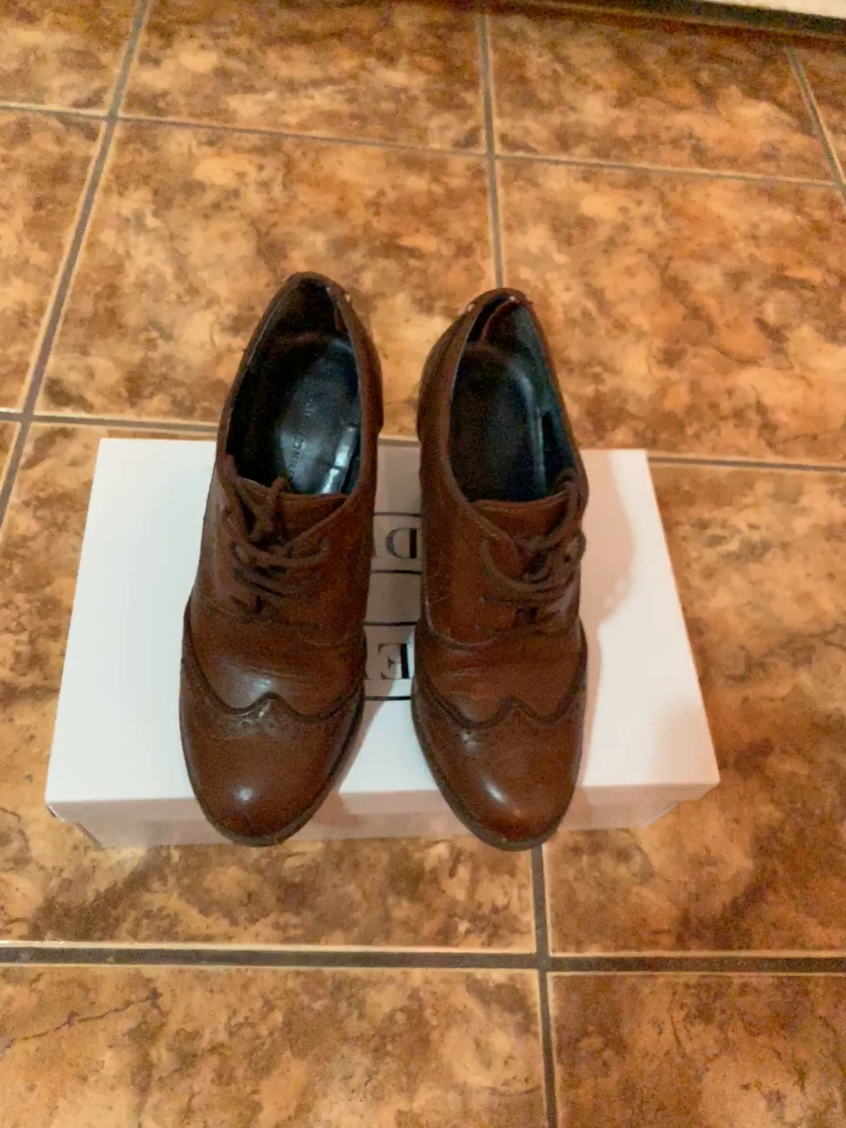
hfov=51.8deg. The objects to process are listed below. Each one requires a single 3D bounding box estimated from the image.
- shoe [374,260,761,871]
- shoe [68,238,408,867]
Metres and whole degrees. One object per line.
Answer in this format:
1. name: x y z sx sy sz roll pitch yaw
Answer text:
1. shoe: 0.040 -0.002 0.386 0.096 0.137 0.228 -3 59 -9
2. shoe: -0.062 -0.004 0.375 0.096 0.137 0.228 4 58 -5
